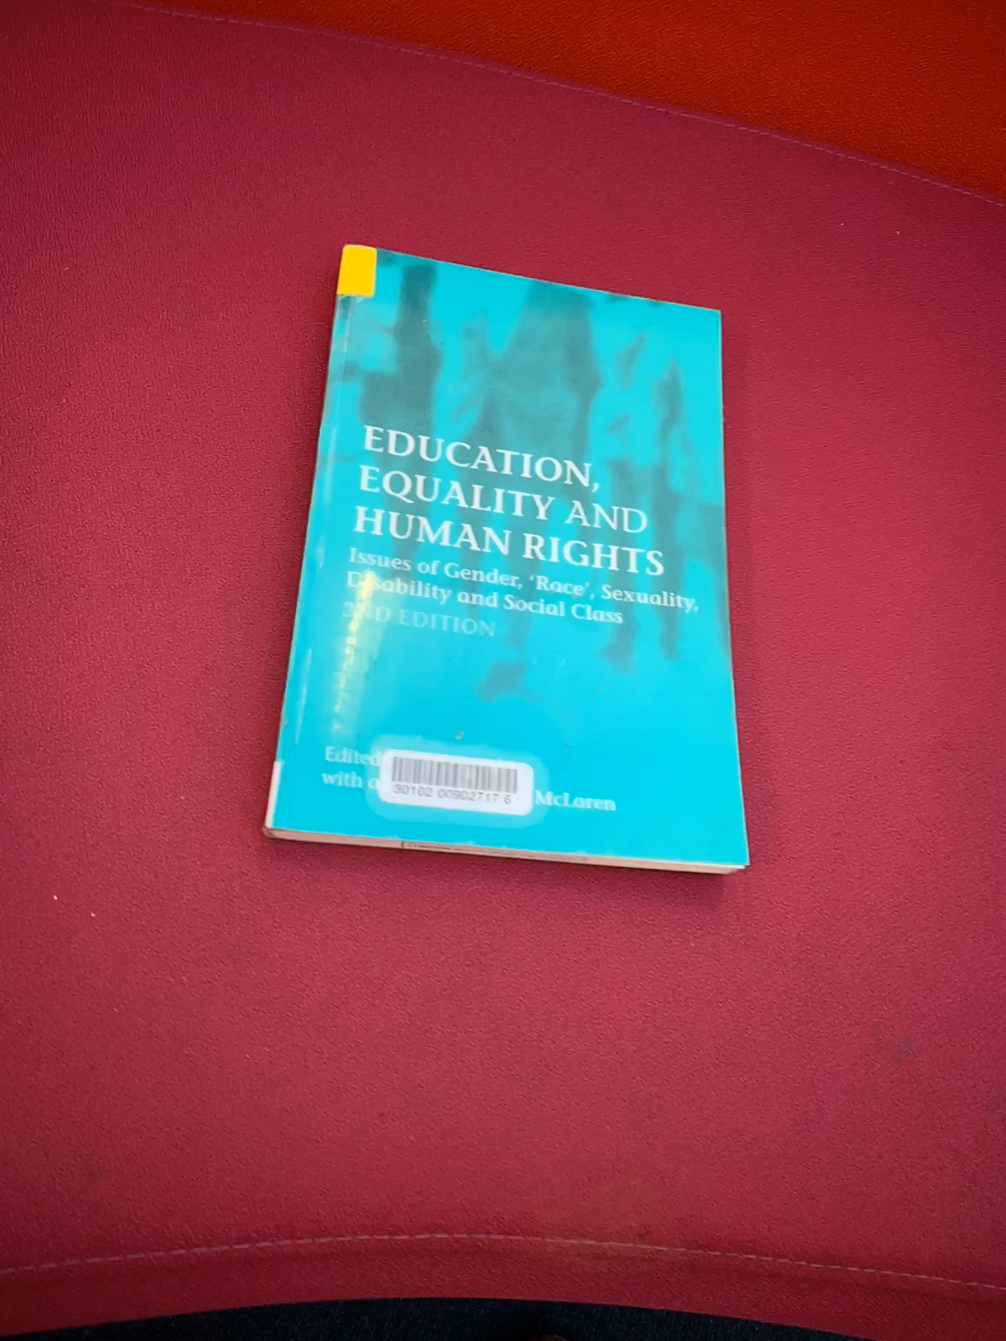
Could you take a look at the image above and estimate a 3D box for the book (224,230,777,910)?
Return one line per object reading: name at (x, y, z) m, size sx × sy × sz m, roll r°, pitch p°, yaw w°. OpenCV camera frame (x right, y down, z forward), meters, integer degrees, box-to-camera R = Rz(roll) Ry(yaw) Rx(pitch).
book at (0.005, -0.045, 0.391) m, size 0.180 × 0.030 × 0.251 m, roll 6°, pitch 67°, yaw -10°
